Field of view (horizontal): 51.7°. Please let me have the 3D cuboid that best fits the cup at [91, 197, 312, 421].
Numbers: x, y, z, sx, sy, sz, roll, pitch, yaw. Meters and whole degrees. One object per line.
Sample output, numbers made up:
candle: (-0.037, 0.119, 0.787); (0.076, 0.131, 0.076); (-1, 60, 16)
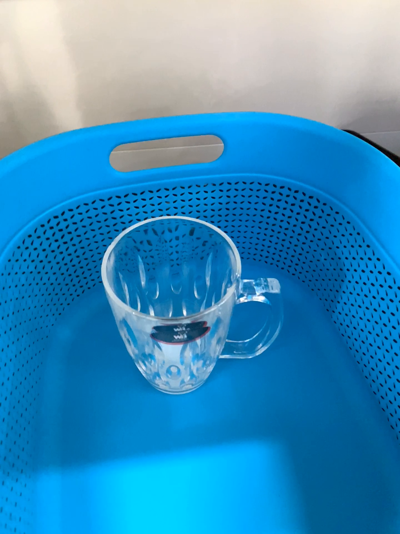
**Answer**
cup: (-0.004, 0.031, 0.275); (0.109, 0.117, 0.078); (-9, 50, -9)
